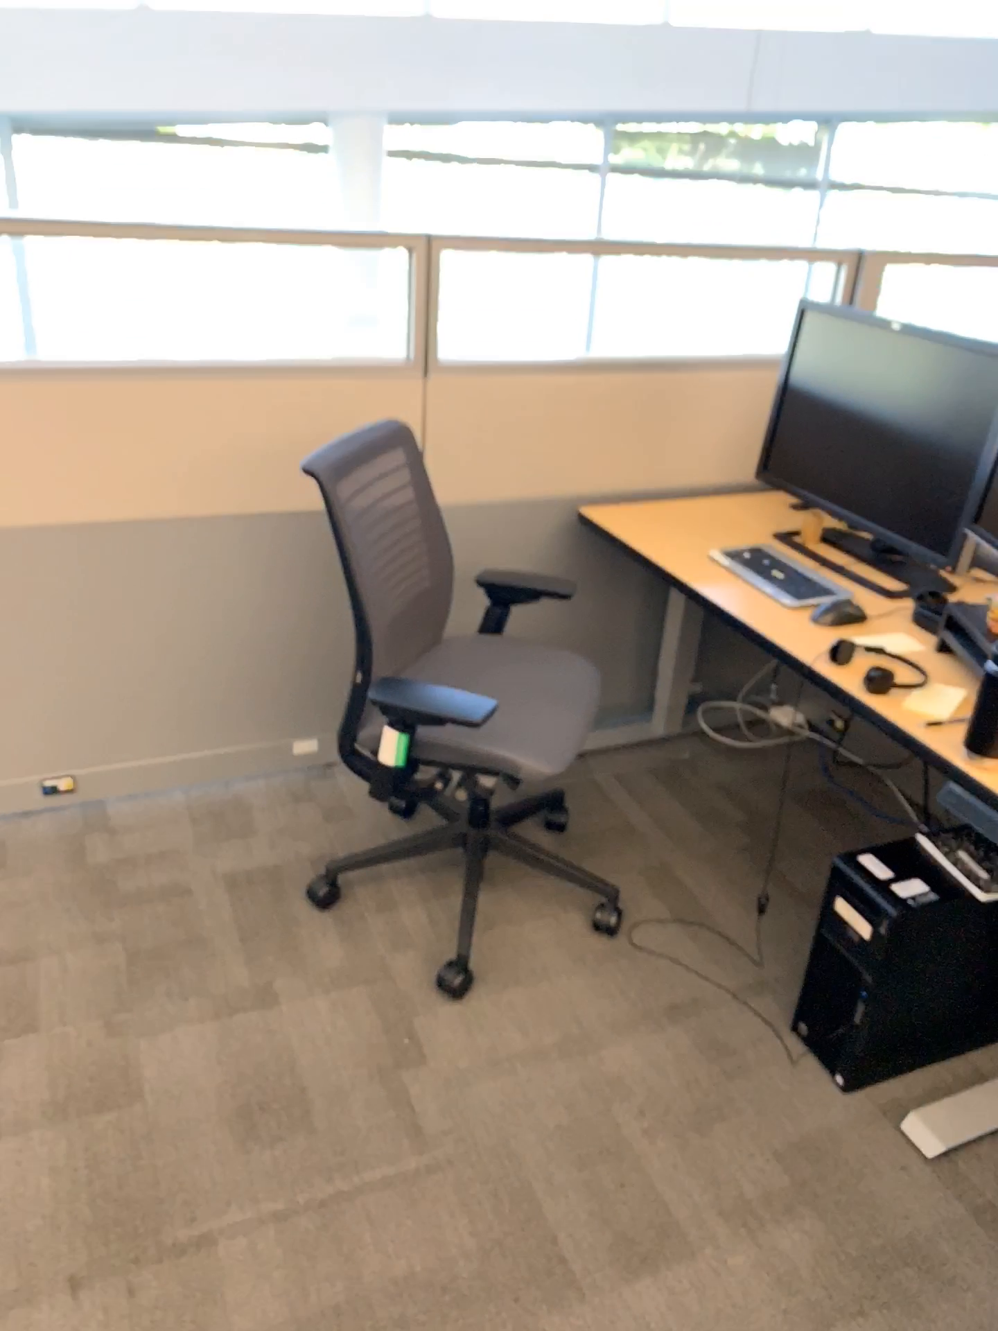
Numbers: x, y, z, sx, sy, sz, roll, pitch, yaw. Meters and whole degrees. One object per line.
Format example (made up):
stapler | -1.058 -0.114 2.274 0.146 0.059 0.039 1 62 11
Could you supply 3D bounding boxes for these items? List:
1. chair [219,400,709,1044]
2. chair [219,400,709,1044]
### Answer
chair | -0.046 0.068 2.328 0.801 1.084 0.774 10 27 13
chair | -0.046 0.068 2.328 0.801 1.084 0.774 10 27 13
